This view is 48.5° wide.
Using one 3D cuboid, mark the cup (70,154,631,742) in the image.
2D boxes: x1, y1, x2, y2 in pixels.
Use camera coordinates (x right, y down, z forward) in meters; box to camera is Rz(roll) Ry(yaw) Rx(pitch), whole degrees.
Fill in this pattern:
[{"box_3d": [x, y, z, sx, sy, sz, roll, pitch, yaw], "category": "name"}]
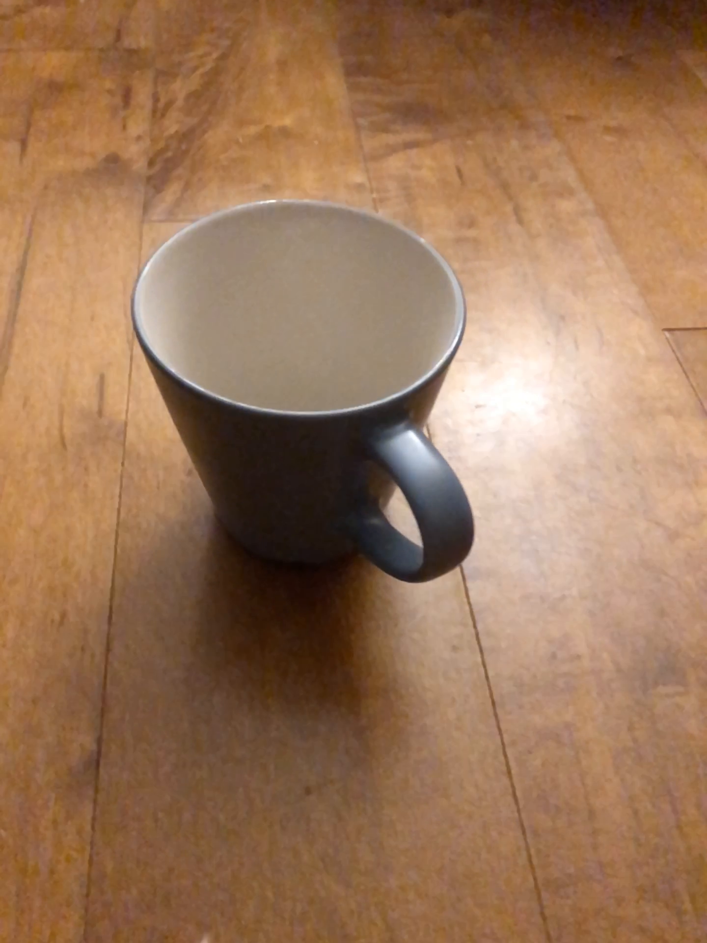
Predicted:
[{"box_3d": [-0.010, -0.014, 0.260, 0.100, 0.099, 0.141, -24, 56, -22], "category": "cup"}]
